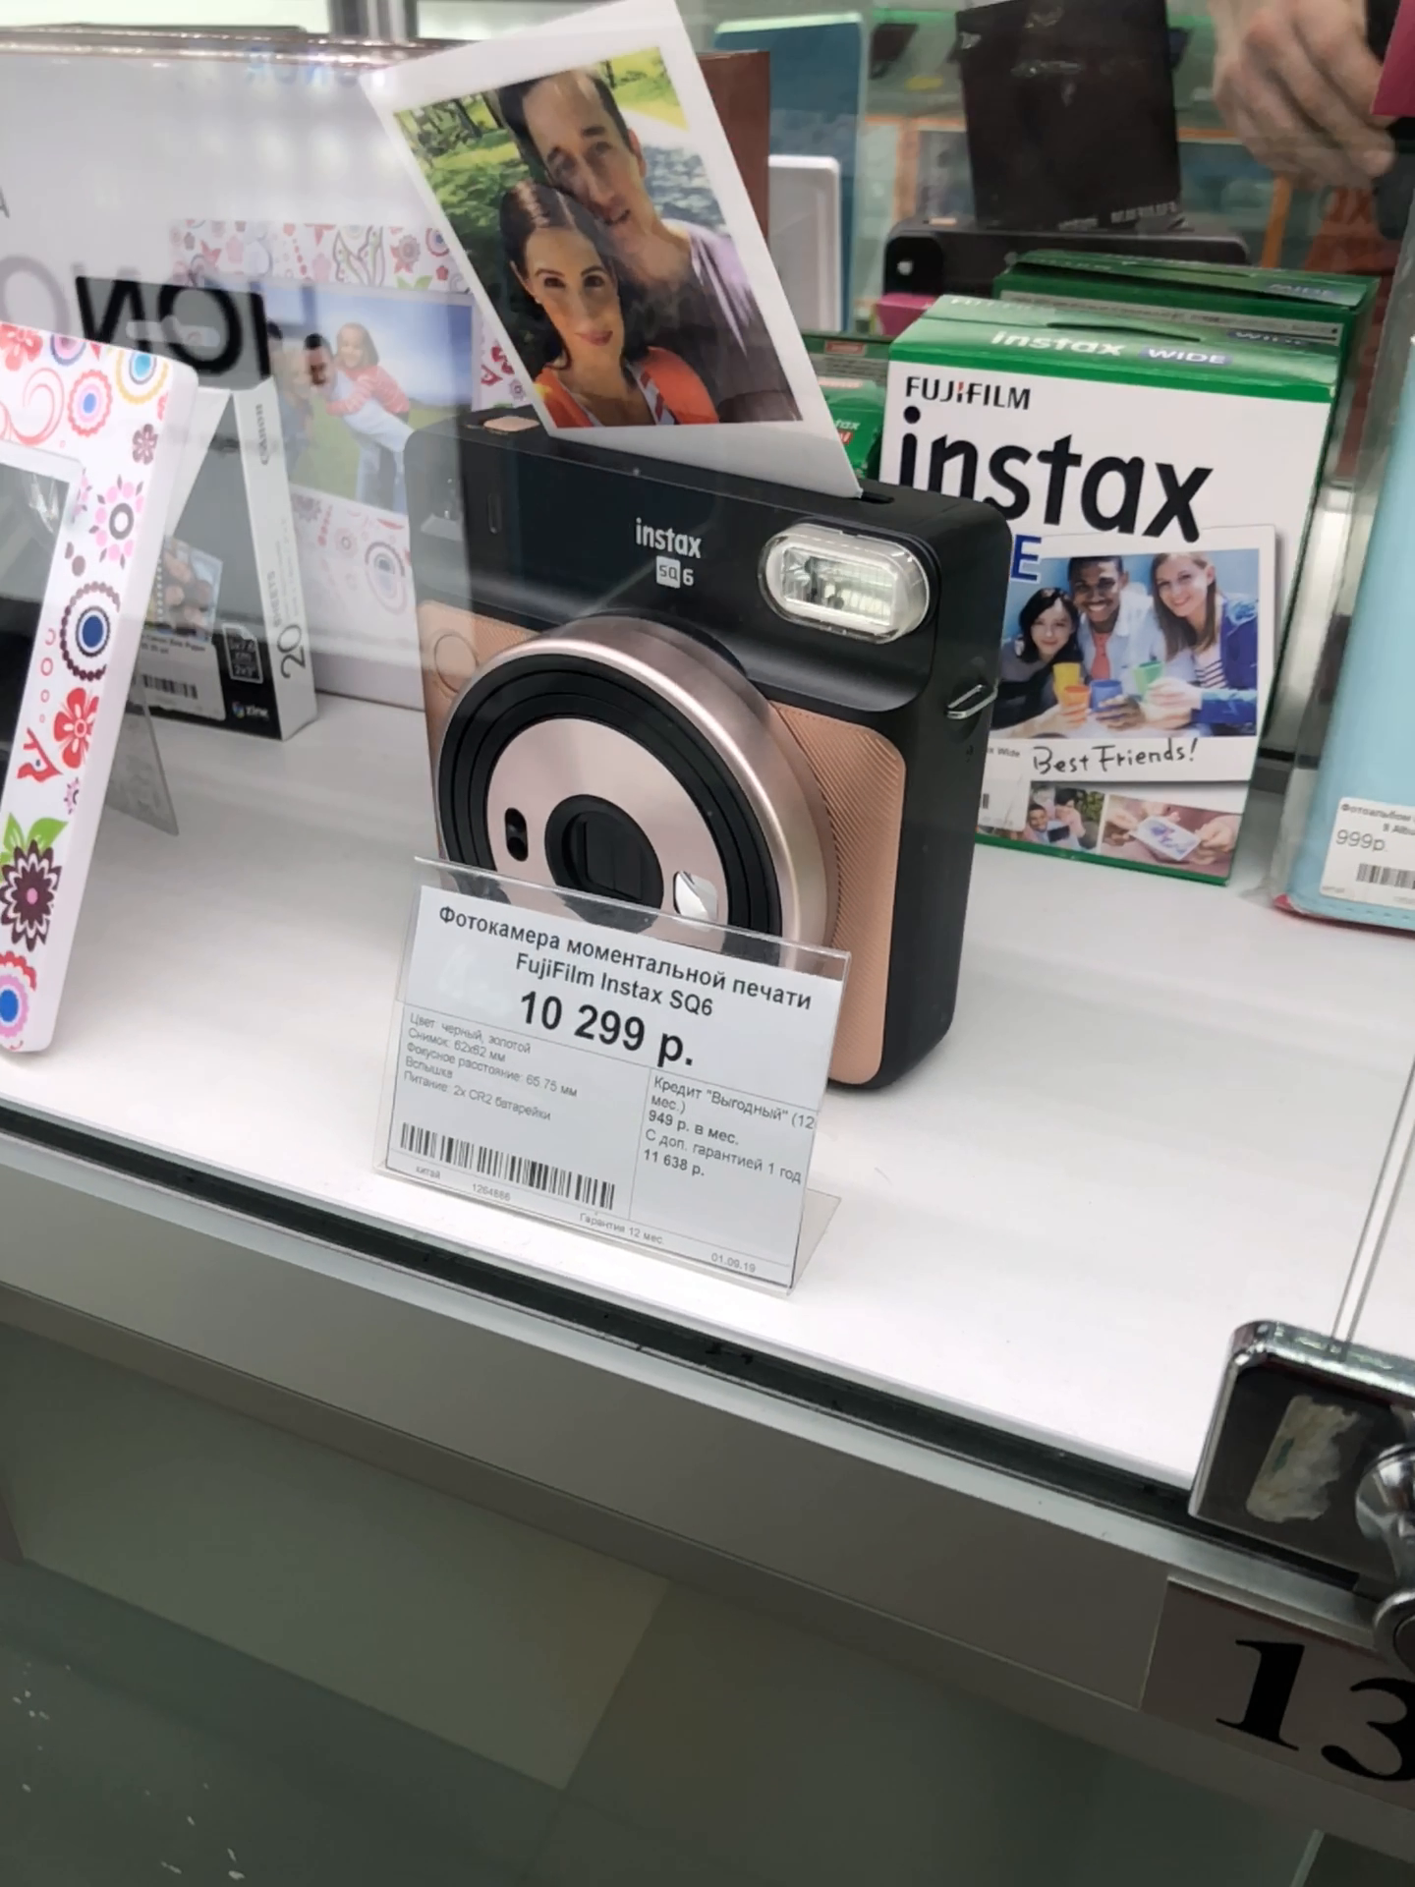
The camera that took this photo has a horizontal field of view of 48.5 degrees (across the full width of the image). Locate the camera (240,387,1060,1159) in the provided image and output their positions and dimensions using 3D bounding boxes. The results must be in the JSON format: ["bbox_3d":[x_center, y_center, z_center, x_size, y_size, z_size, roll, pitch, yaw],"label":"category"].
[{"bbox_3d":[-0.014,-0.041,0.310,0.140,0.104,0.060,21,38,30],"label":"camera"}]
